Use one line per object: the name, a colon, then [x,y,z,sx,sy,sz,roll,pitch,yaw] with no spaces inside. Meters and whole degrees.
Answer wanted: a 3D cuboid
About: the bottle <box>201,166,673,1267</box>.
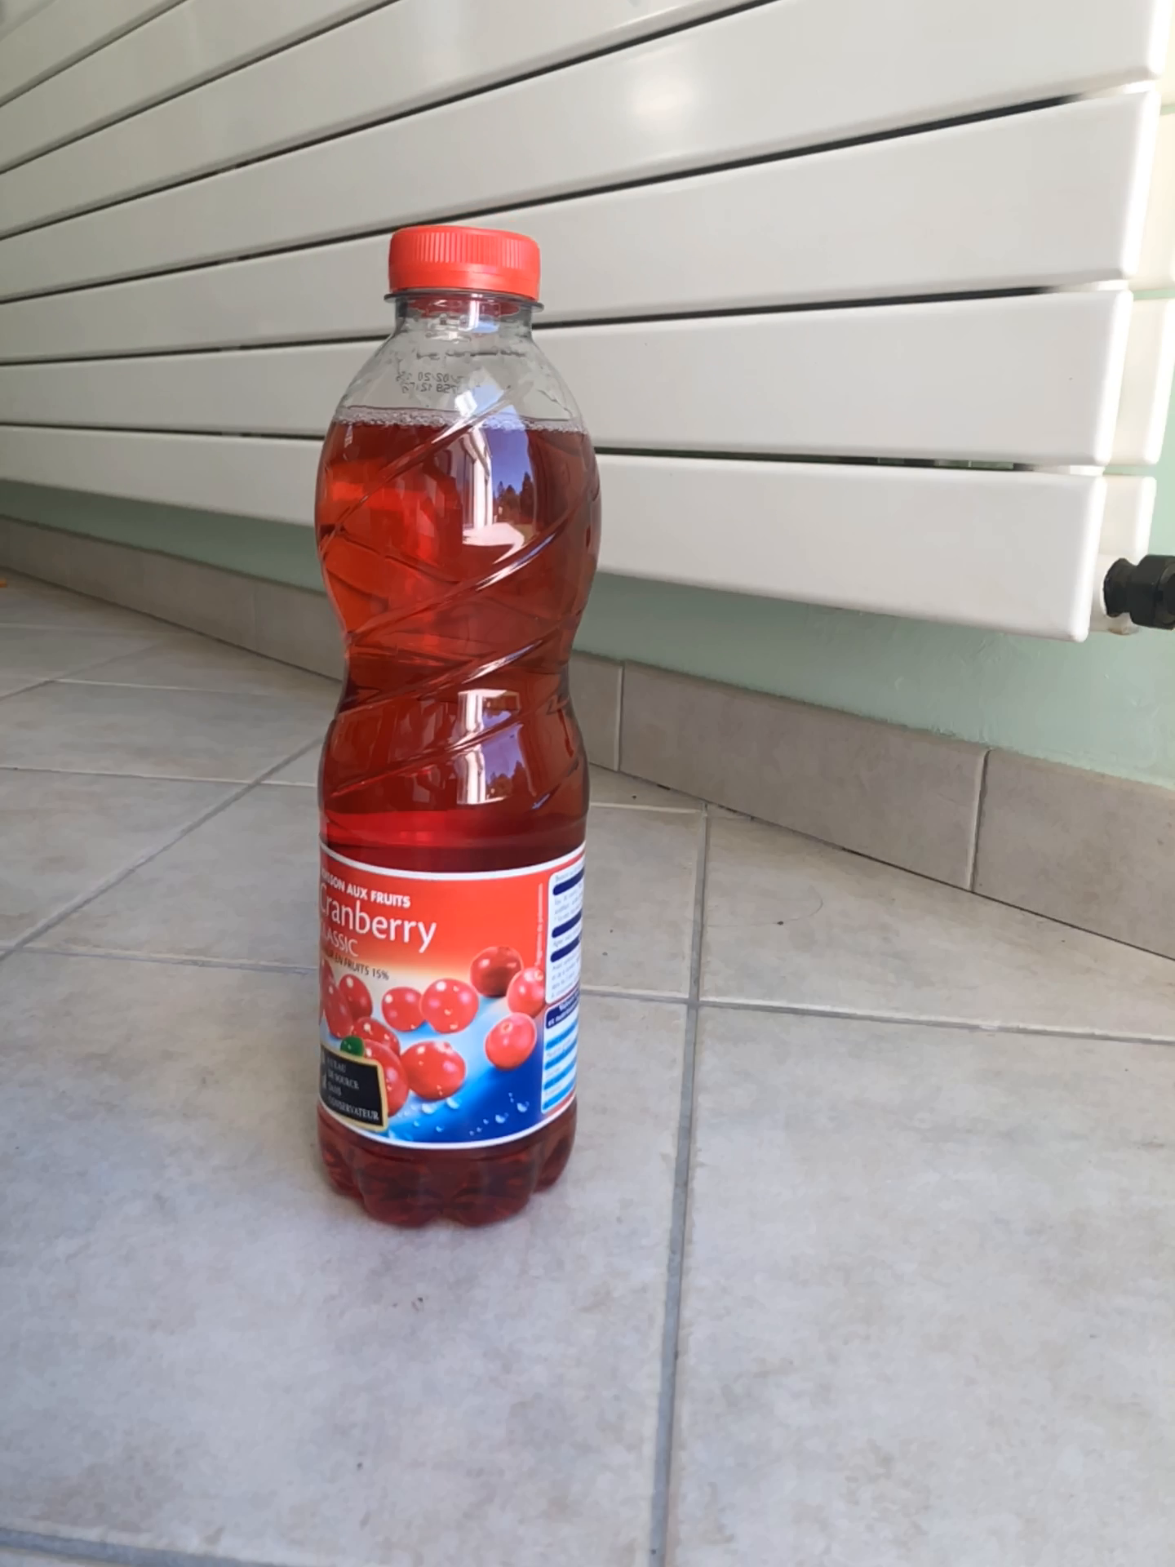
bottle: [-0.043,-0.018,0.357,0.090,0.259,0.080,15,19,43]
